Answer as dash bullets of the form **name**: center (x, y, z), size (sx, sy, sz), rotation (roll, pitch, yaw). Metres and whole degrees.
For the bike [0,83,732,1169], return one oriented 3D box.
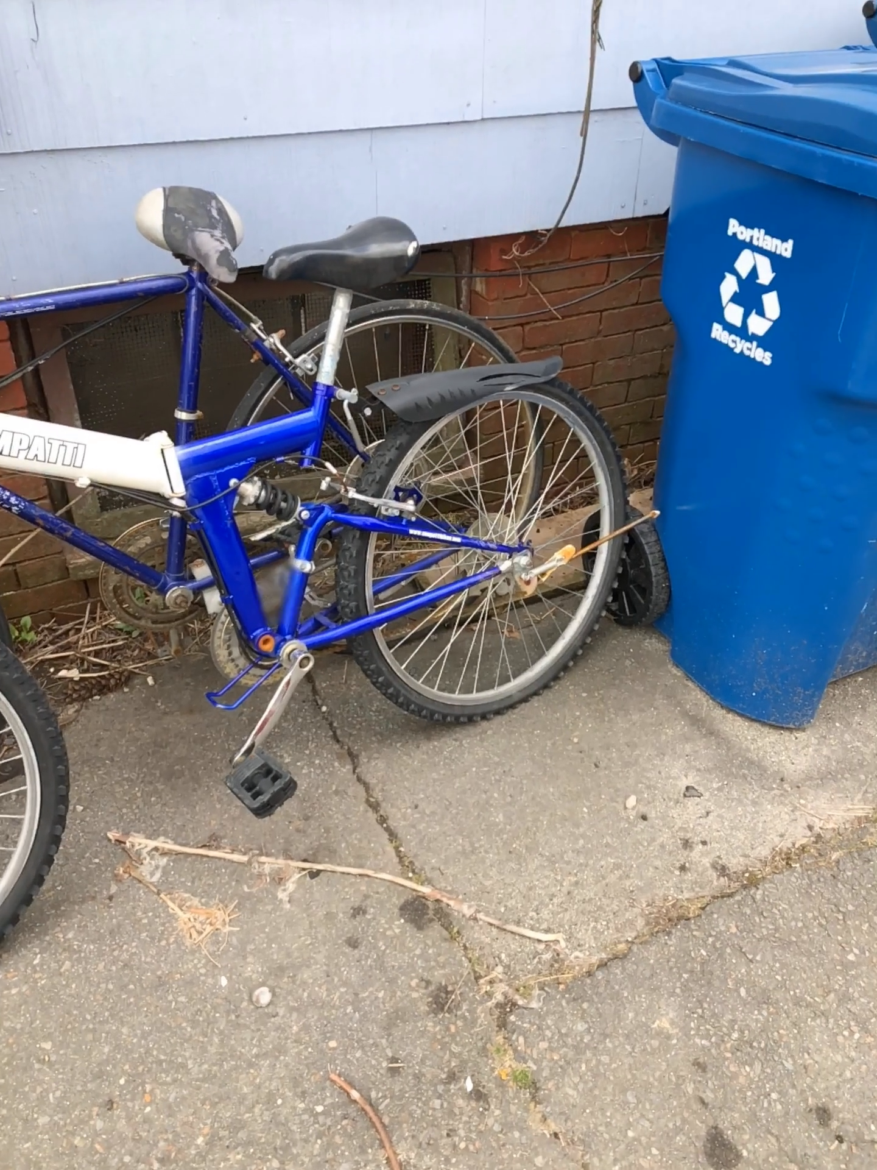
- **bike**: center (-0.454, -0.052, 1.462), size (1.732, 0.979, 0.564), rotation (-24, 42, -27)
